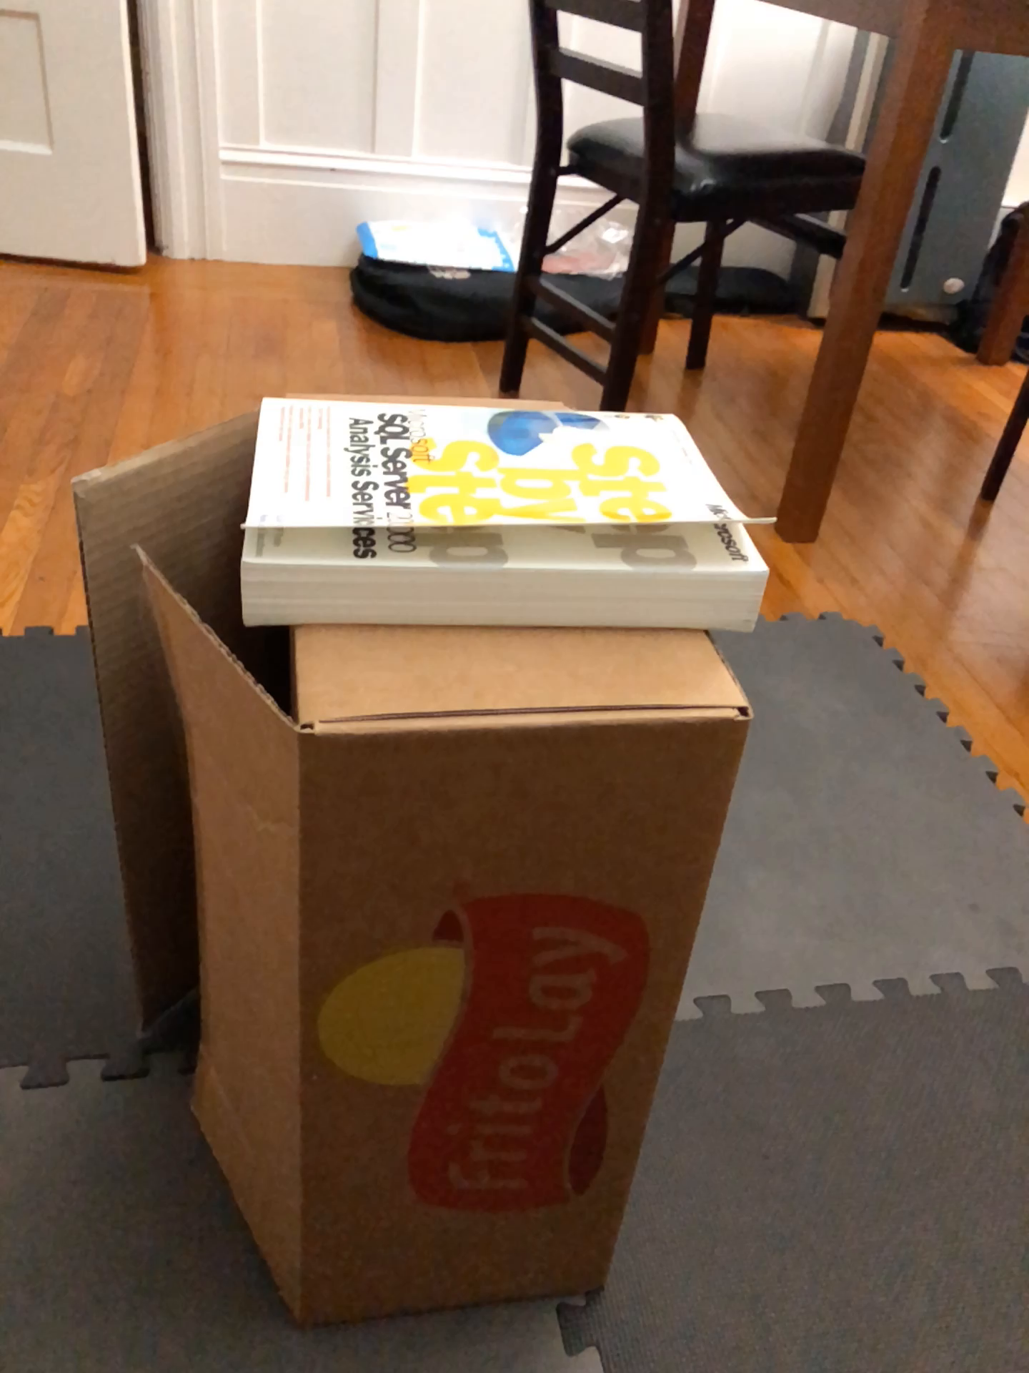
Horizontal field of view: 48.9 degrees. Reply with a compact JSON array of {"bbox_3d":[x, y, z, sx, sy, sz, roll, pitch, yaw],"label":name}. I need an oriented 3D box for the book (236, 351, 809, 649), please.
[{"bbox_3d":[-0.009,-0.101,0.560,0.240,0.050,0.201,-2,38,-10],"label":"book"}]
